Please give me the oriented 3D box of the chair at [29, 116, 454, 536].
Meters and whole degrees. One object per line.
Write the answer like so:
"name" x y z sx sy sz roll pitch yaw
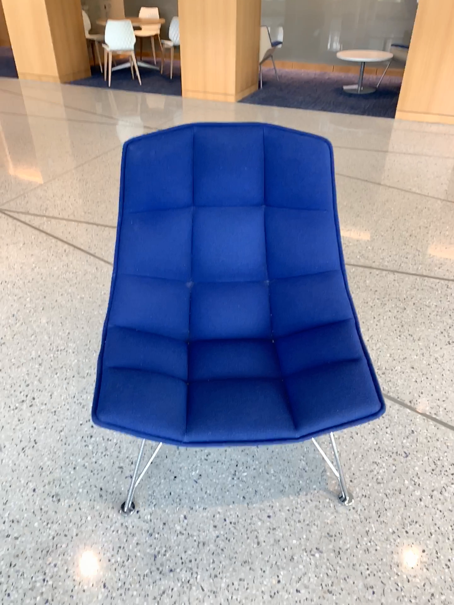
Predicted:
"chair" 0.037 0.035 1.426 0.798 0.962 0.836 -1 35 -2
